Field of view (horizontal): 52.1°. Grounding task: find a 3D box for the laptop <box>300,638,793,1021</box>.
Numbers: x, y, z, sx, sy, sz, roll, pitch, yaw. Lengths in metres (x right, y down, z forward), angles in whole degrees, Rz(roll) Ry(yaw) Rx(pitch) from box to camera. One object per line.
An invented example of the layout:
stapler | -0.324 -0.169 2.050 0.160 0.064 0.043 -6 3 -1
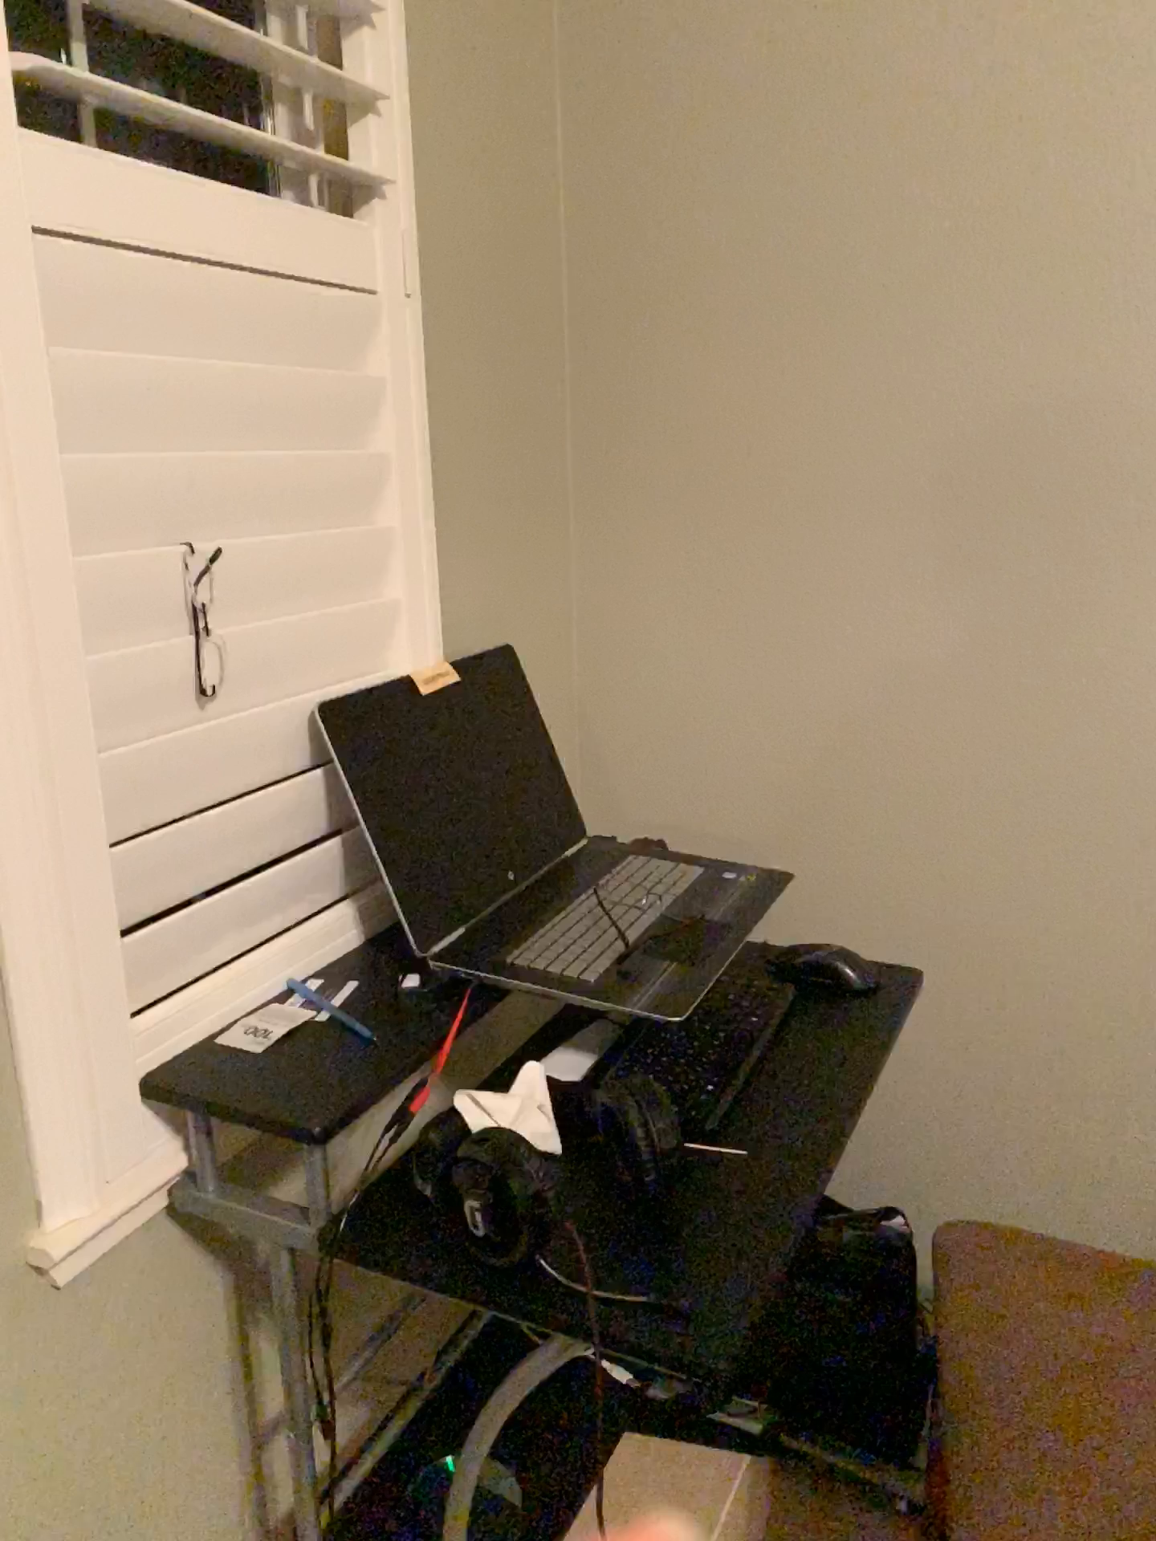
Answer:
laptop | -0.008 0.029 1.385 0.418 0.264 0.434 8 16 23
